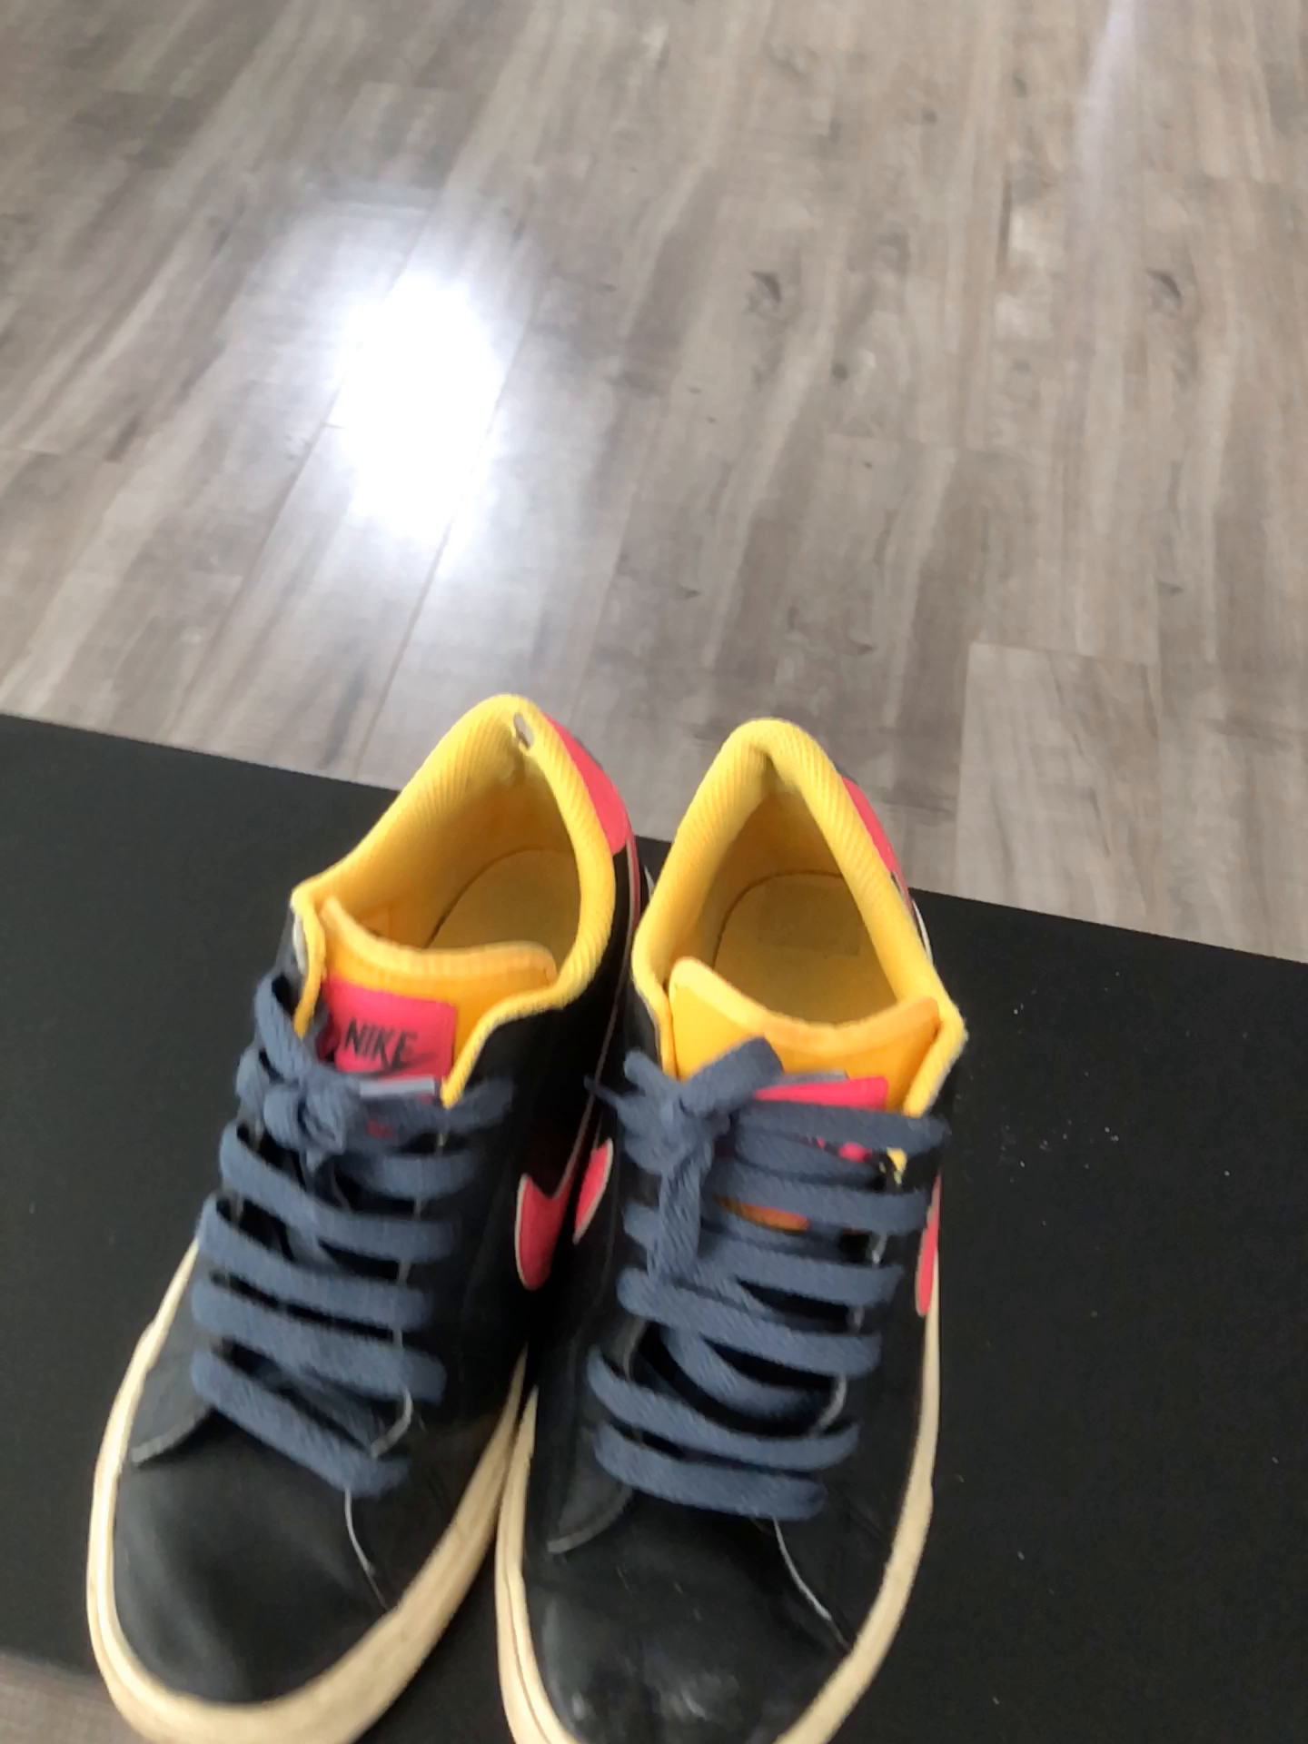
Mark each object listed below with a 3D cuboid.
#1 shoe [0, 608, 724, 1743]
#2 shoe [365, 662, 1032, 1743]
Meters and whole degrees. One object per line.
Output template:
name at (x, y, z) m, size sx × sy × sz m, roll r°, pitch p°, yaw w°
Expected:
shoe at (-0.063, 0.066, 0.337) m, size 0.095 × 0.100 × 0.244 m, roll 13°, pitch 55°, yaw 12°
shoe at (0.025, 0.080, 0.324) m, size 0.090 × 0.100 × 0.244 m, roll 8°, pitch 54°, yaw 8°
